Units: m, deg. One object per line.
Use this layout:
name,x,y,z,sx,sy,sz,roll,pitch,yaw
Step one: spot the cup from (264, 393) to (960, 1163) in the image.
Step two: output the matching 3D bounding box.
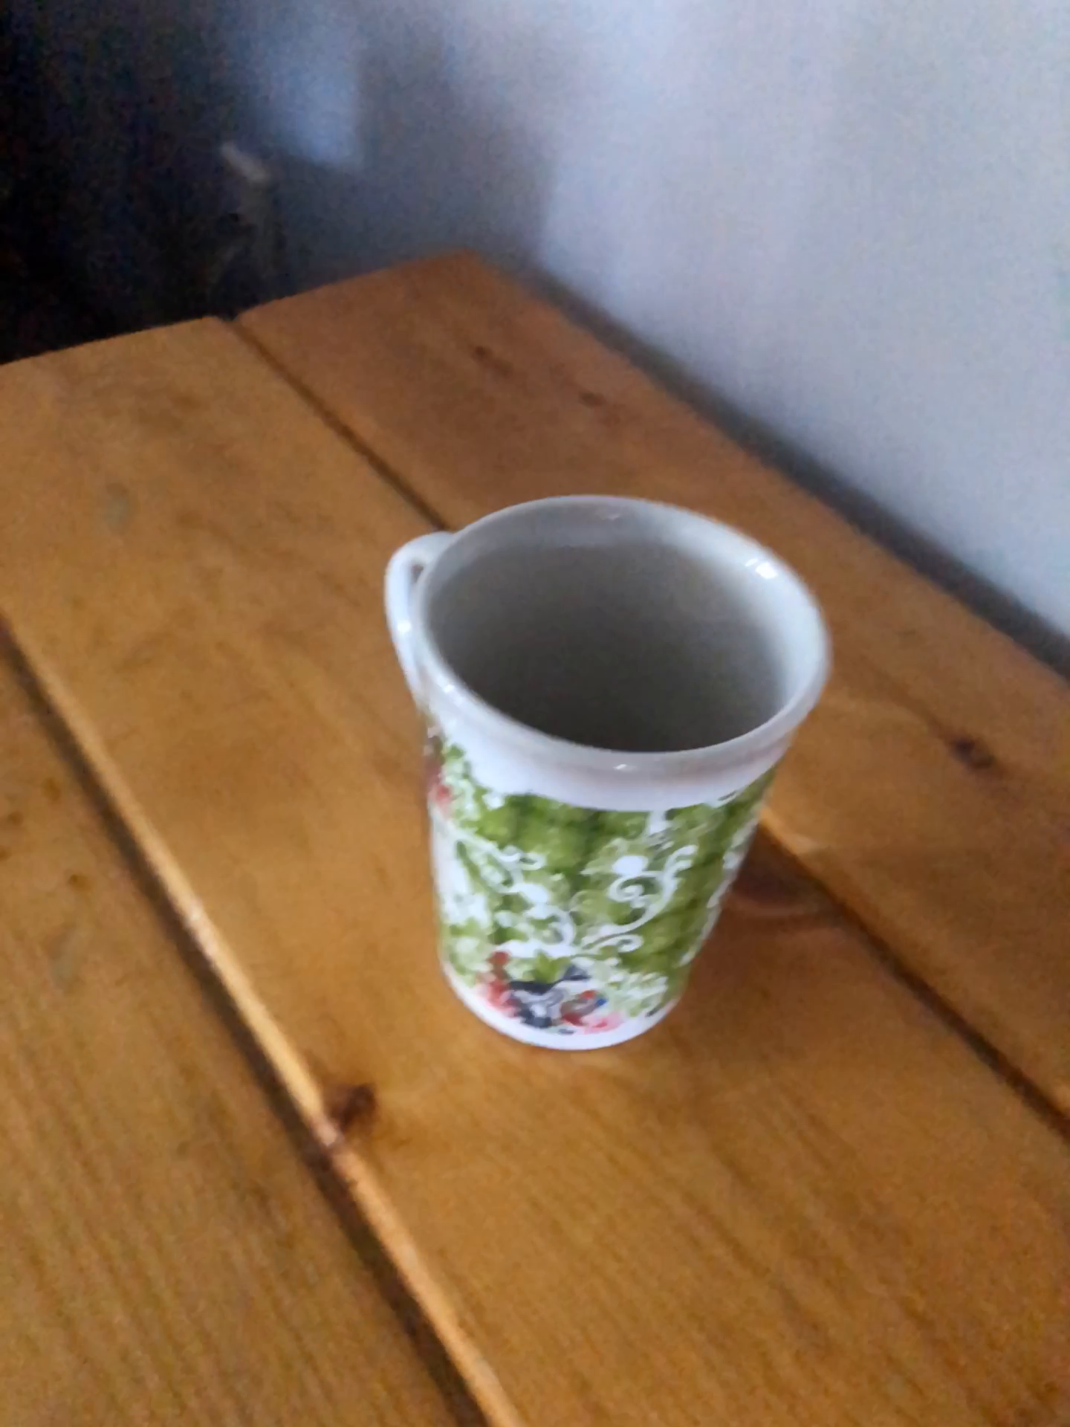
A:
cup,0.010,0.013,0.307,0.090,0.120,0.130,-30,55,-29
